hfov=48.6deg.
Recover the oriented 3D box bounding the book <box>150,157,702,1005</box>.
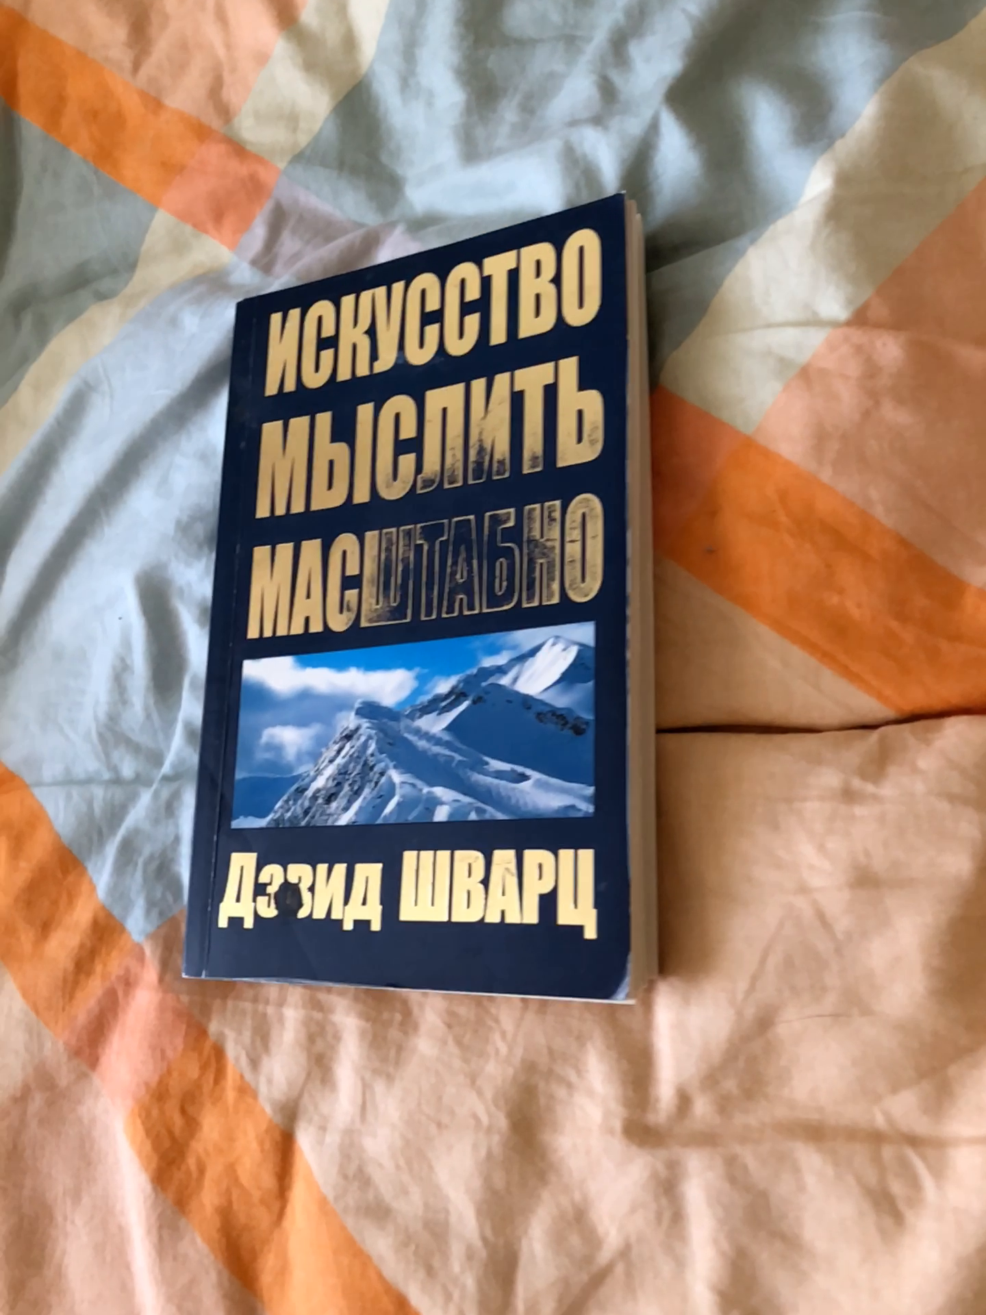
[{"bbox_3d":[-0.016,-0.017,0.270,0.127,0.028,0.189,-5,73,26],"label":"book"}]
